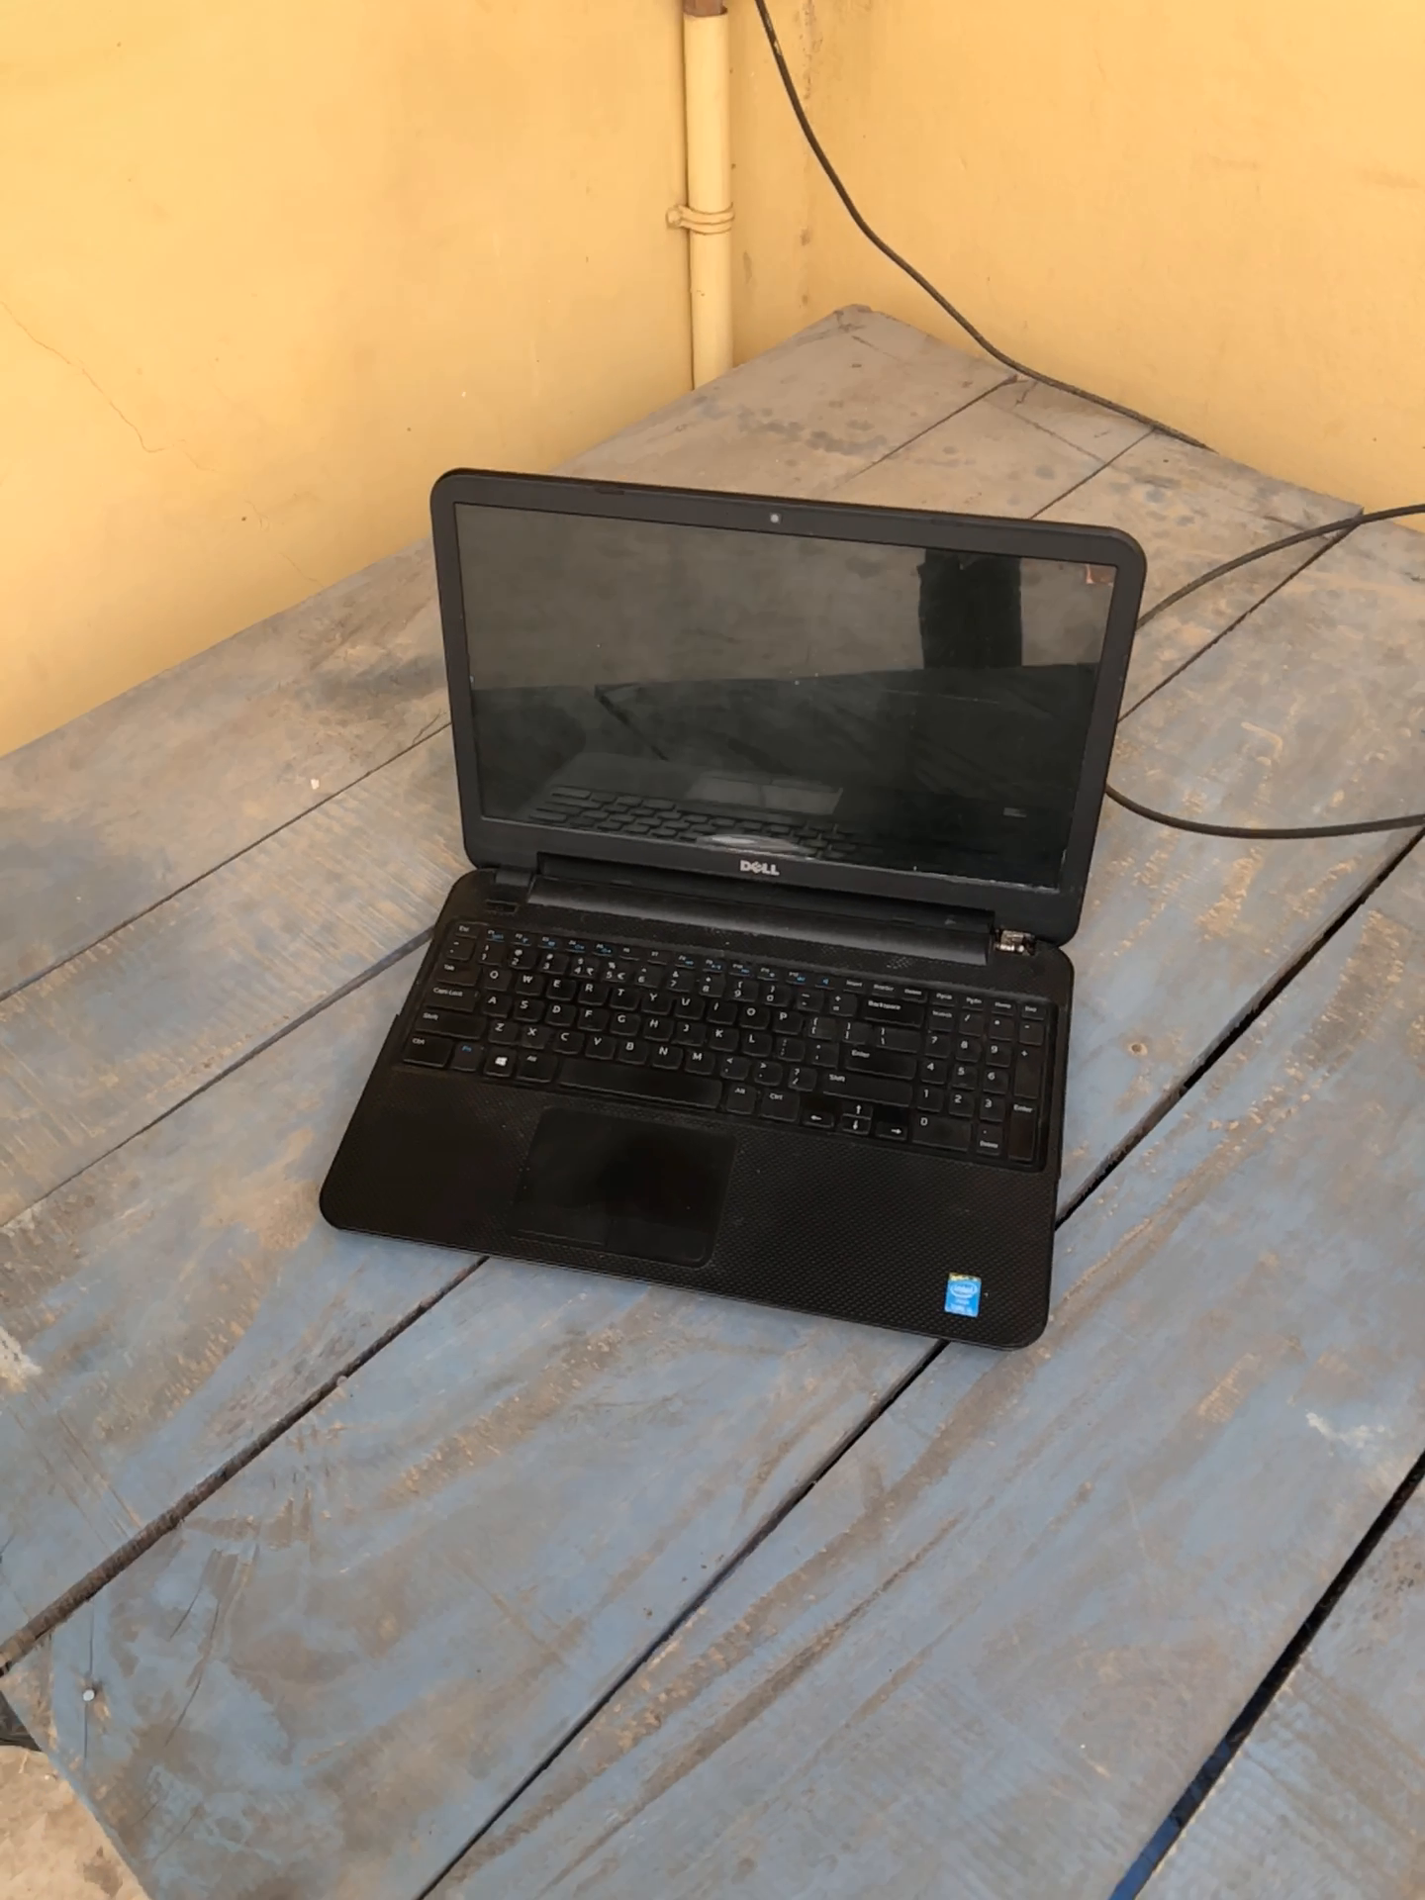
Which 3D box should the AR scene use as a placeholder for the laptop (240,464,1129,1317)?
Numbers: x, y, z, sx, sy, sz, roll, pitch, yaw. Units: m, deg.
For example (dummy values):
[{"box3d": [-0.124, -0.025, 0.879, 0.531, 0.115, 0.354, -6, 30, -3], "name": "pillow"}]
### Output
[{"box3d": [0.011, -0.042, 0.766, 0.331, 0.214, 0.308, 8, 49, 10], "name": "laptop"}]
